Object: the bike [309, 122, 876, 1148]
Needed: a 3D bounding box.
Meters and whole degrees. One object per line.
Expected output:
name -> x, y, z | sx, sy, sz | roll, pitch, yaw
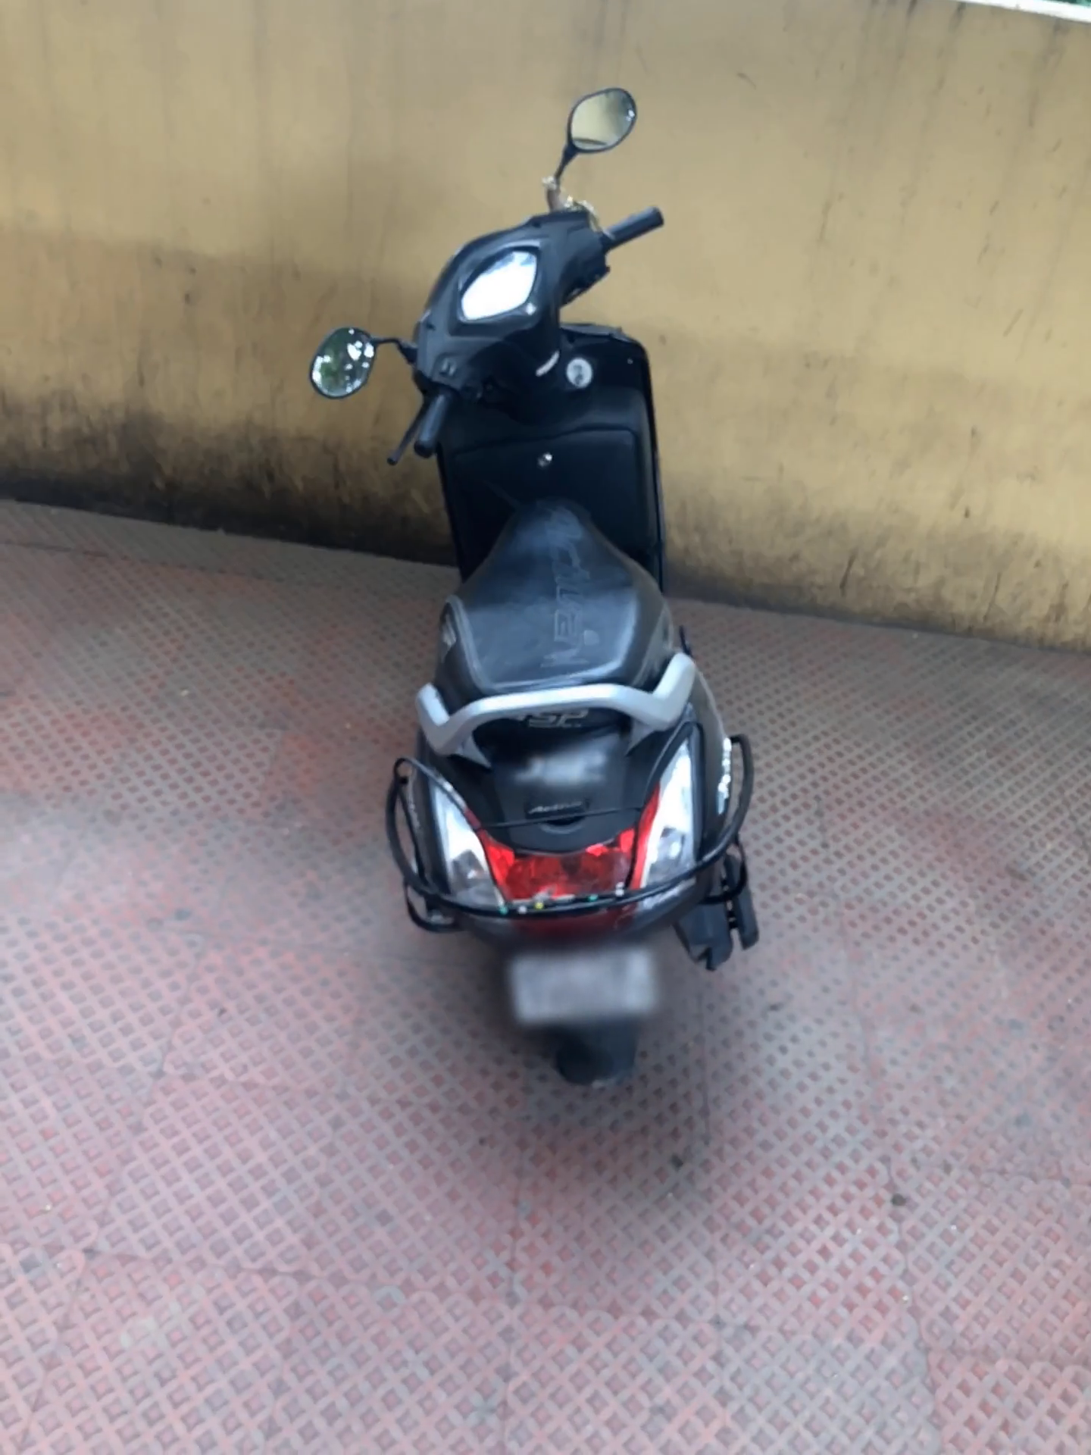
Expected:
bike -> -0.017, -0.249, 2.147 | 0.578, 1.138, 1.490 | 5, 38, -5
